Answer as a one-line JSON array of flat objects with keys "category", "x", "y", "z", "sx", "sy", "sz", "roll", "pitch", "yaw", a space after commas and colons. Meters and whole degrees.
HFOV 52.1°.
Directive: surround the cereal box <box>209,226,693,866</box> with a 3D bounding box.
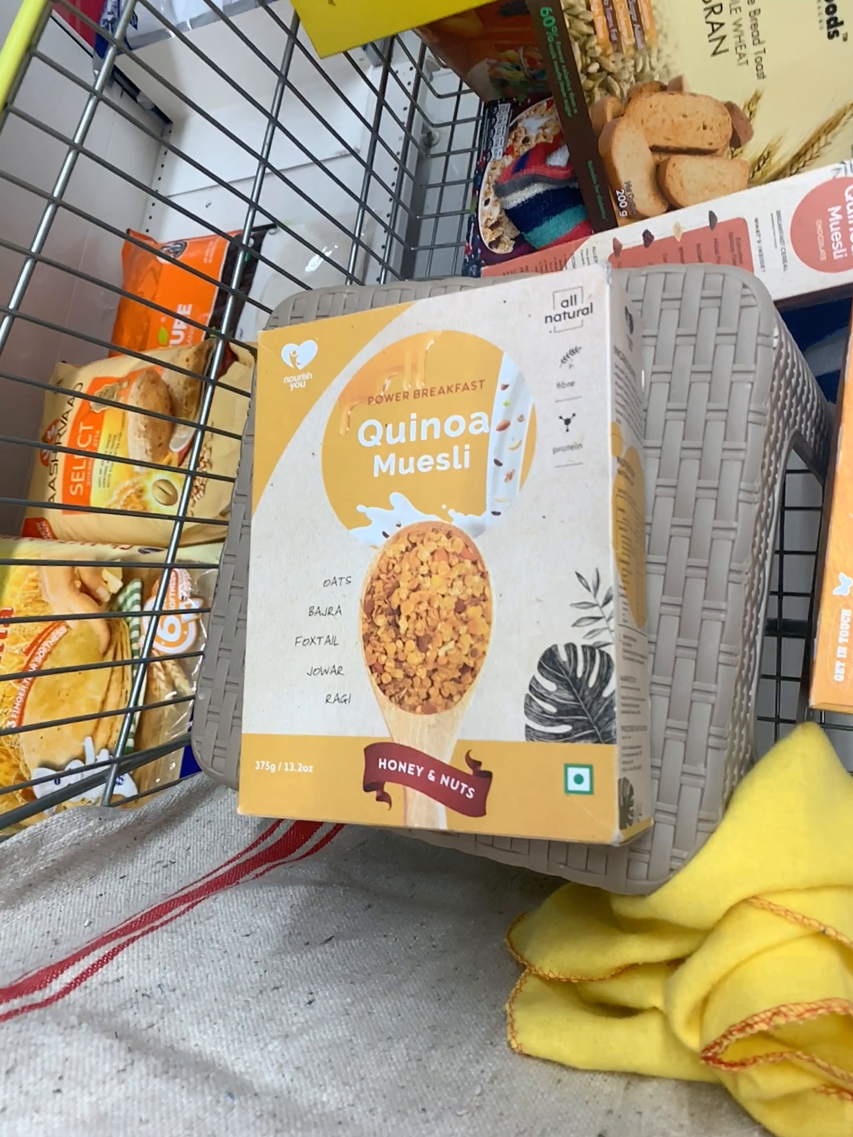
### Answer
[{"category": "cereal box", "x": 0.011, "y": -0.002, "z": 0.338, "sx": 0.161, "sy": 0.080, "sz": 0.200, "roll": -4, "pitch": 80, "yaw": 26}]
